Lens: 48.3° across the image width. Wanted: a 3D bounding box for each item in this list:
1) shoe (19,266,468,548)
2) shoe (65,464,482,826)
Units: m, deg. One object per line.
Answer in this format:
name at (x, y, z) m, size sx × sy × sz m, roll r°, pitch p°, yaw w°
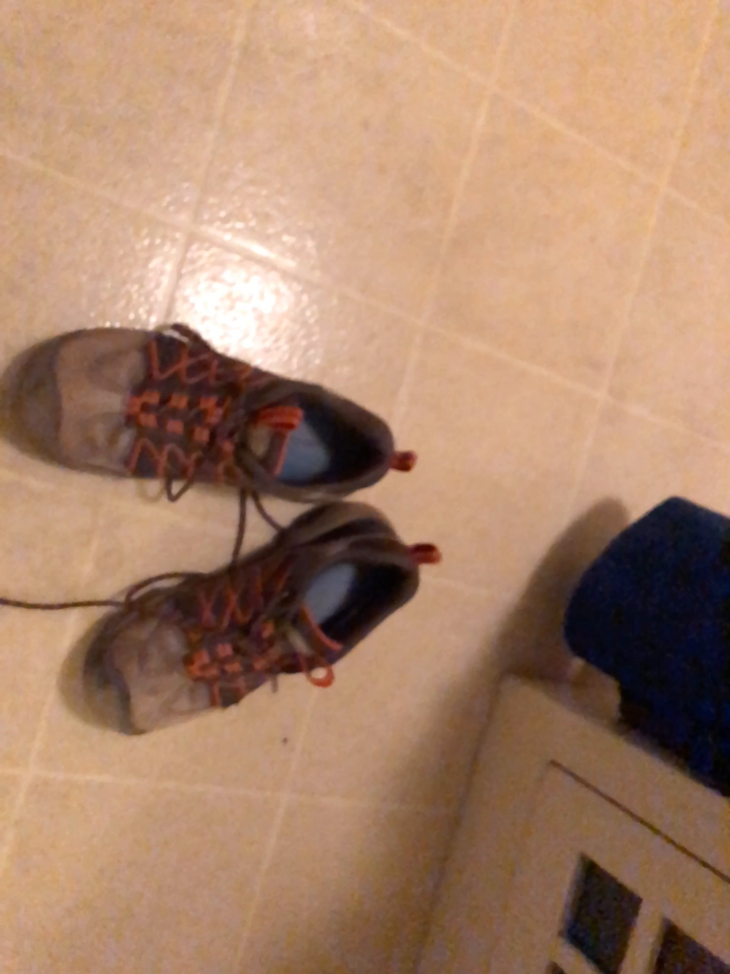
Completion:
shoe at (-0.090, -0.051, 0.616) m, size 0.293 × 0.122 × 0.127 m, roll 13°, pitch 92°, yaw -26°
shoe at (-0.071, 0.108, 0.652) m, size 0.283 × 0.122 × 0.127 m, roll -30°, pitch 108°, yaw -18°
